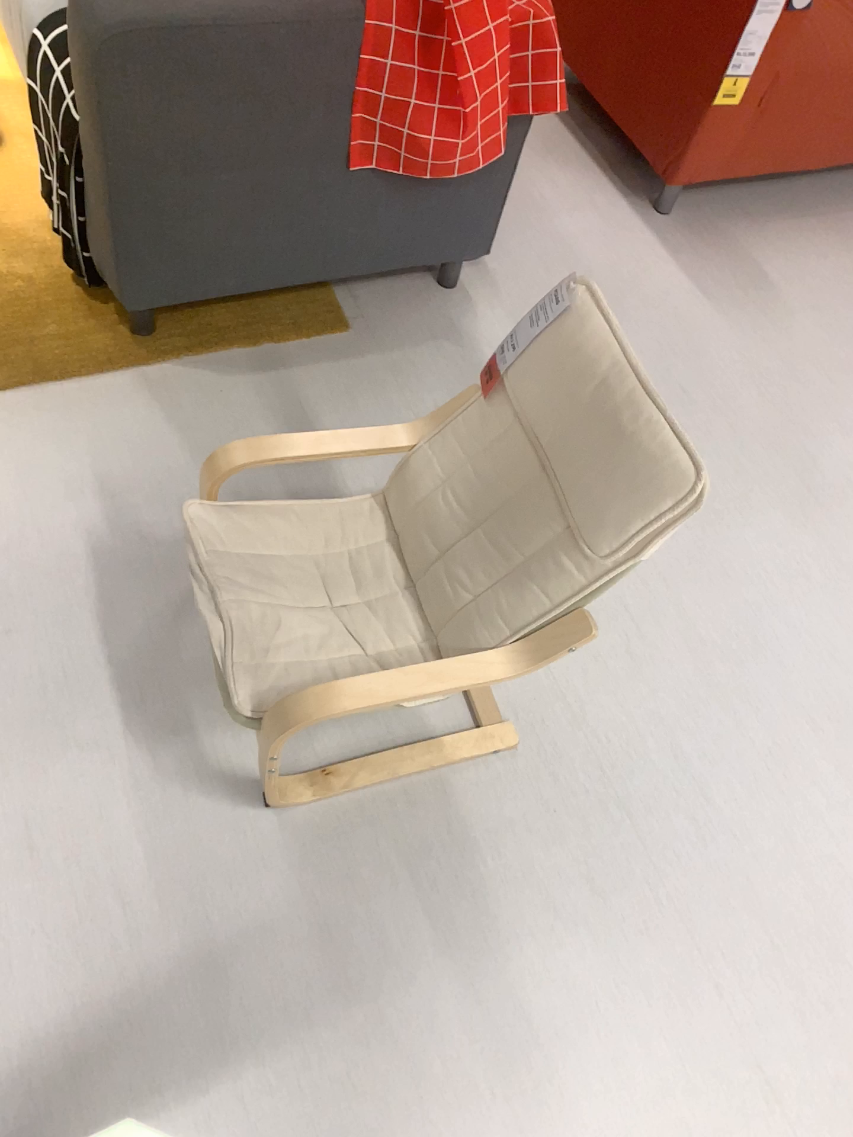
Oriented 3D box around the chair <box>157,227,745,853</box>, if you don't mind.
[{"bbox_3d":[-0.057,0.002,1.308,0.540,0.798,0.491,-11,61,-20],"label":"chair"}]
